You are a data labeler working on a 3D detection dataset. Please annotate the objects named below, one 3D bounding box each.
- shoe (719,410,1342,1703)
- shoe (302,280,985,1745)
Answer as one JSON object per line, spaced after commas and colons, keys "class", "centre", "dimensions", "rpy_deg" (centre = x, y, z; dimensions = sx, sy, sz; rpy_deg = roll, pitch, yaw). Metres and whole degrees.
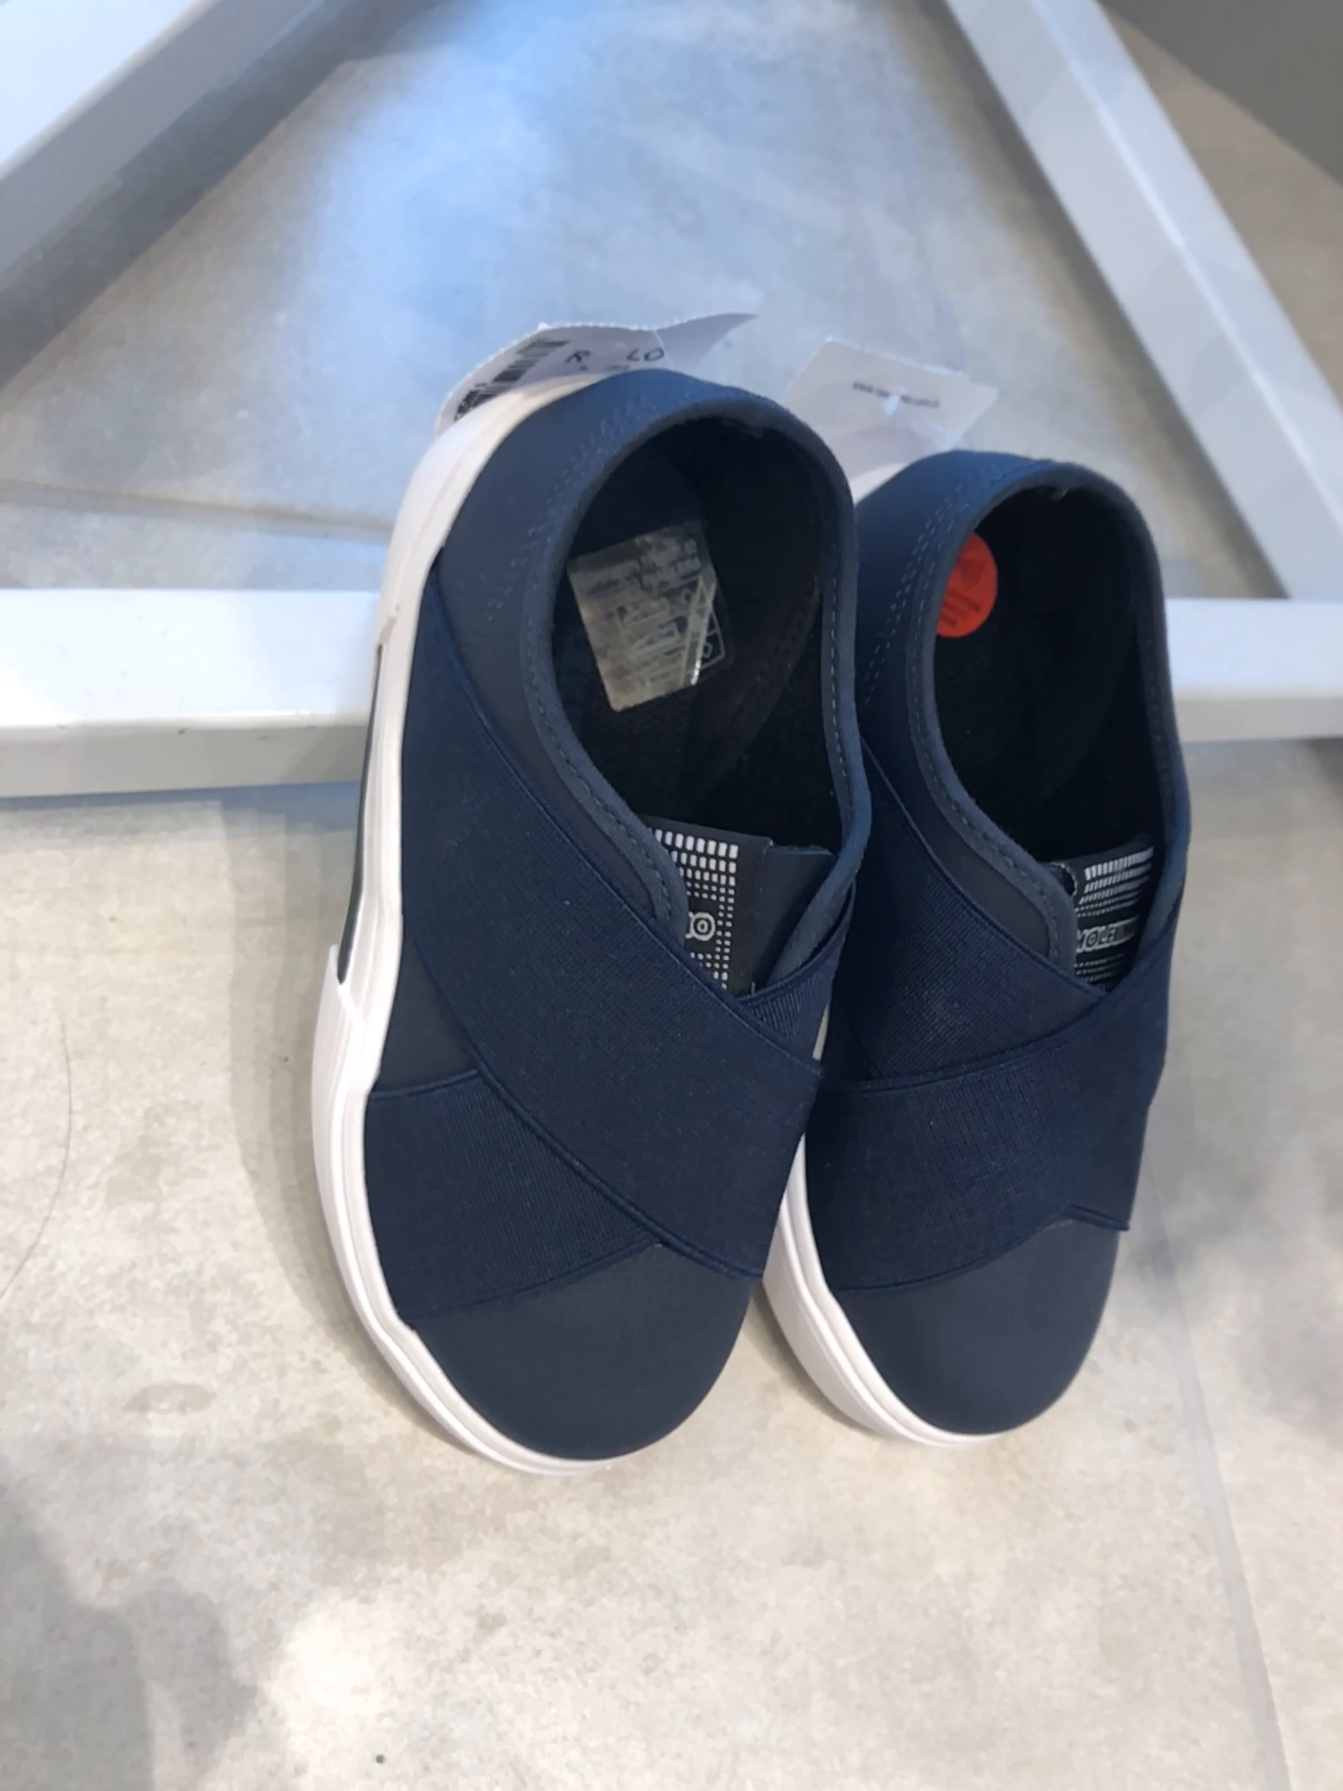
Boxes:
{"class": "shoe", "centre": [0.056, 0.020, 0.249], "dimensions": [0.070, 0.070, 0.180], "rpy_deg": [-4, 101, -25]}
{"class": "shoe", "centre": [-0.010, 0.014, 0.228], "dimensions": [0.070, 0.070, 0.180], "rpy_deg": [-2, 100, -30]}
